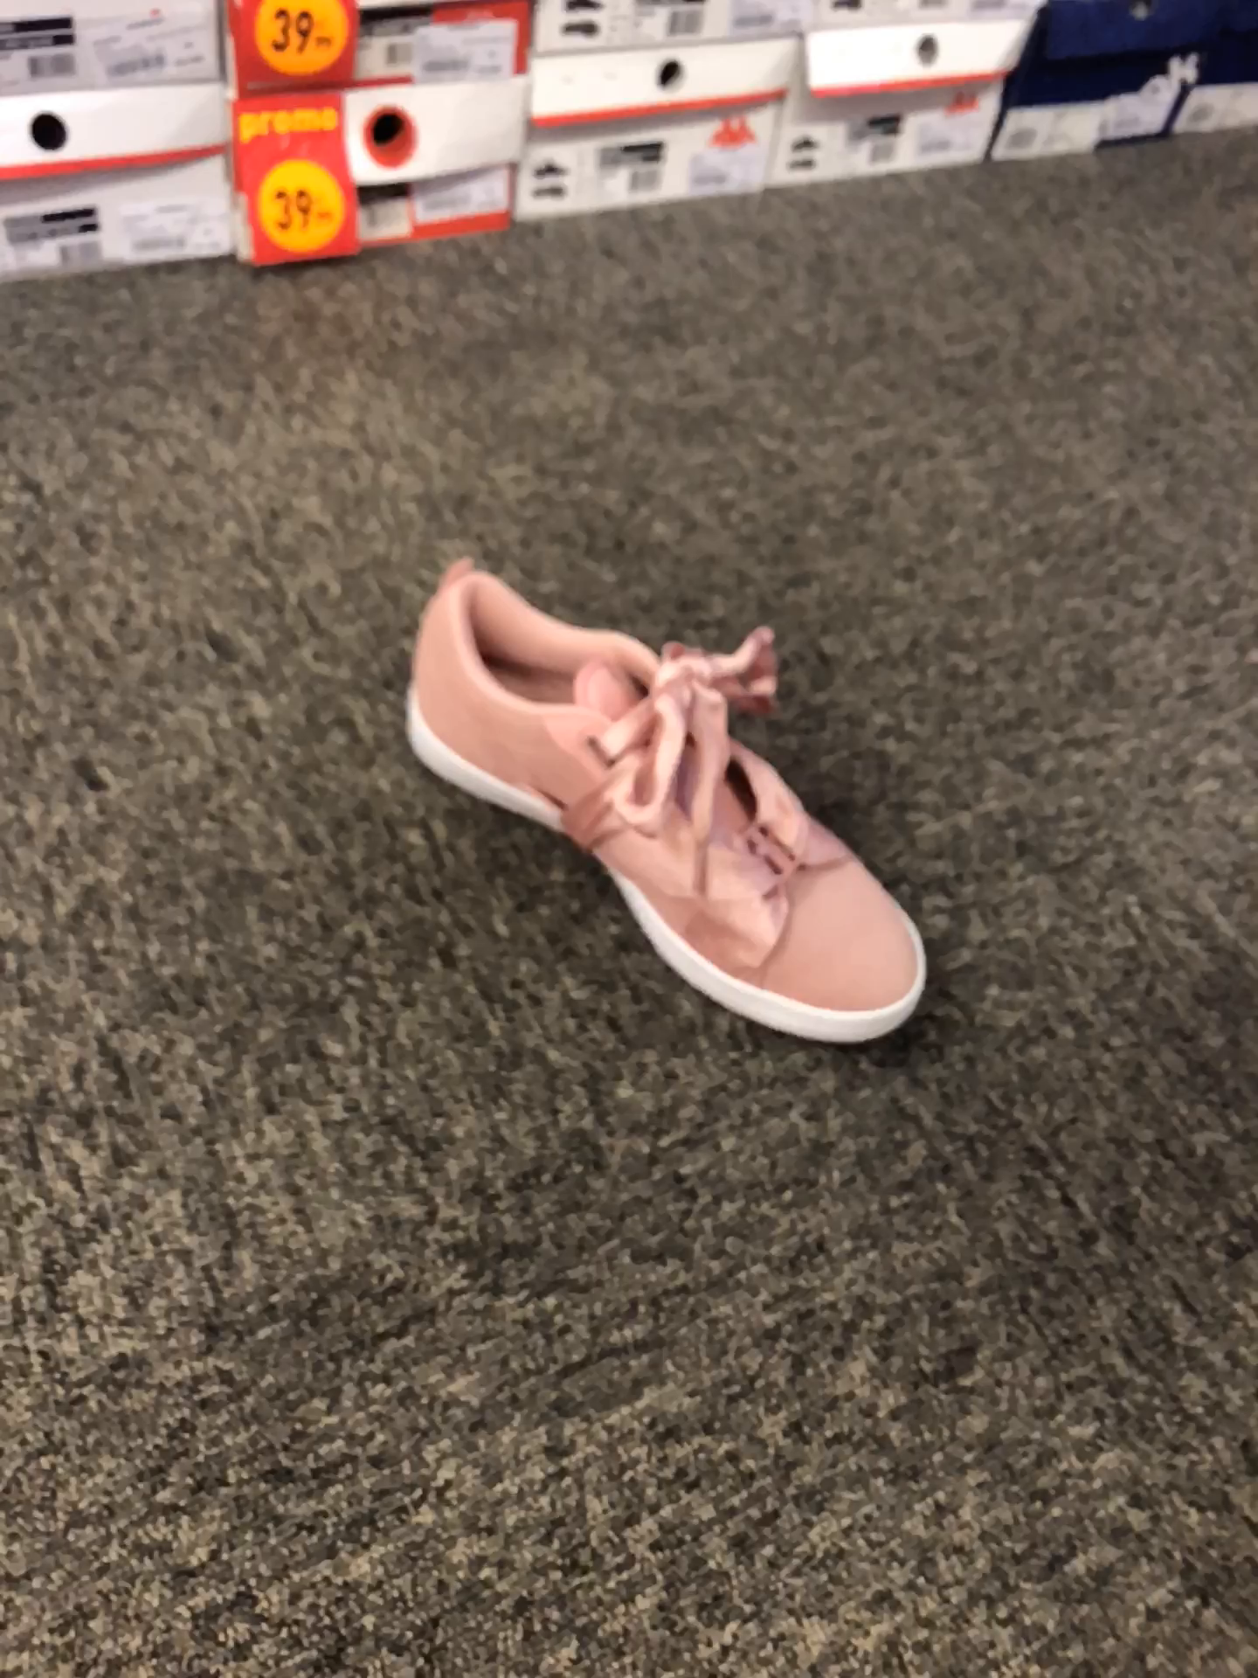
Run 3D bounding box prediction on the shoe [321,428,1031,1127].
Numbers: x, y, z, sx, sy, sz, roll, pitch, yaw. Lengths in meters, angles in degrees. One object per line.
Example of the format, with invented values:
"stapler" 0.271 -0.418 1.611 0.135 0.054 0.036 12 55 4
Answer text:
"shoe" 0.008 -0.028 0.555 0.262 0.099 0.101 42 56 13
